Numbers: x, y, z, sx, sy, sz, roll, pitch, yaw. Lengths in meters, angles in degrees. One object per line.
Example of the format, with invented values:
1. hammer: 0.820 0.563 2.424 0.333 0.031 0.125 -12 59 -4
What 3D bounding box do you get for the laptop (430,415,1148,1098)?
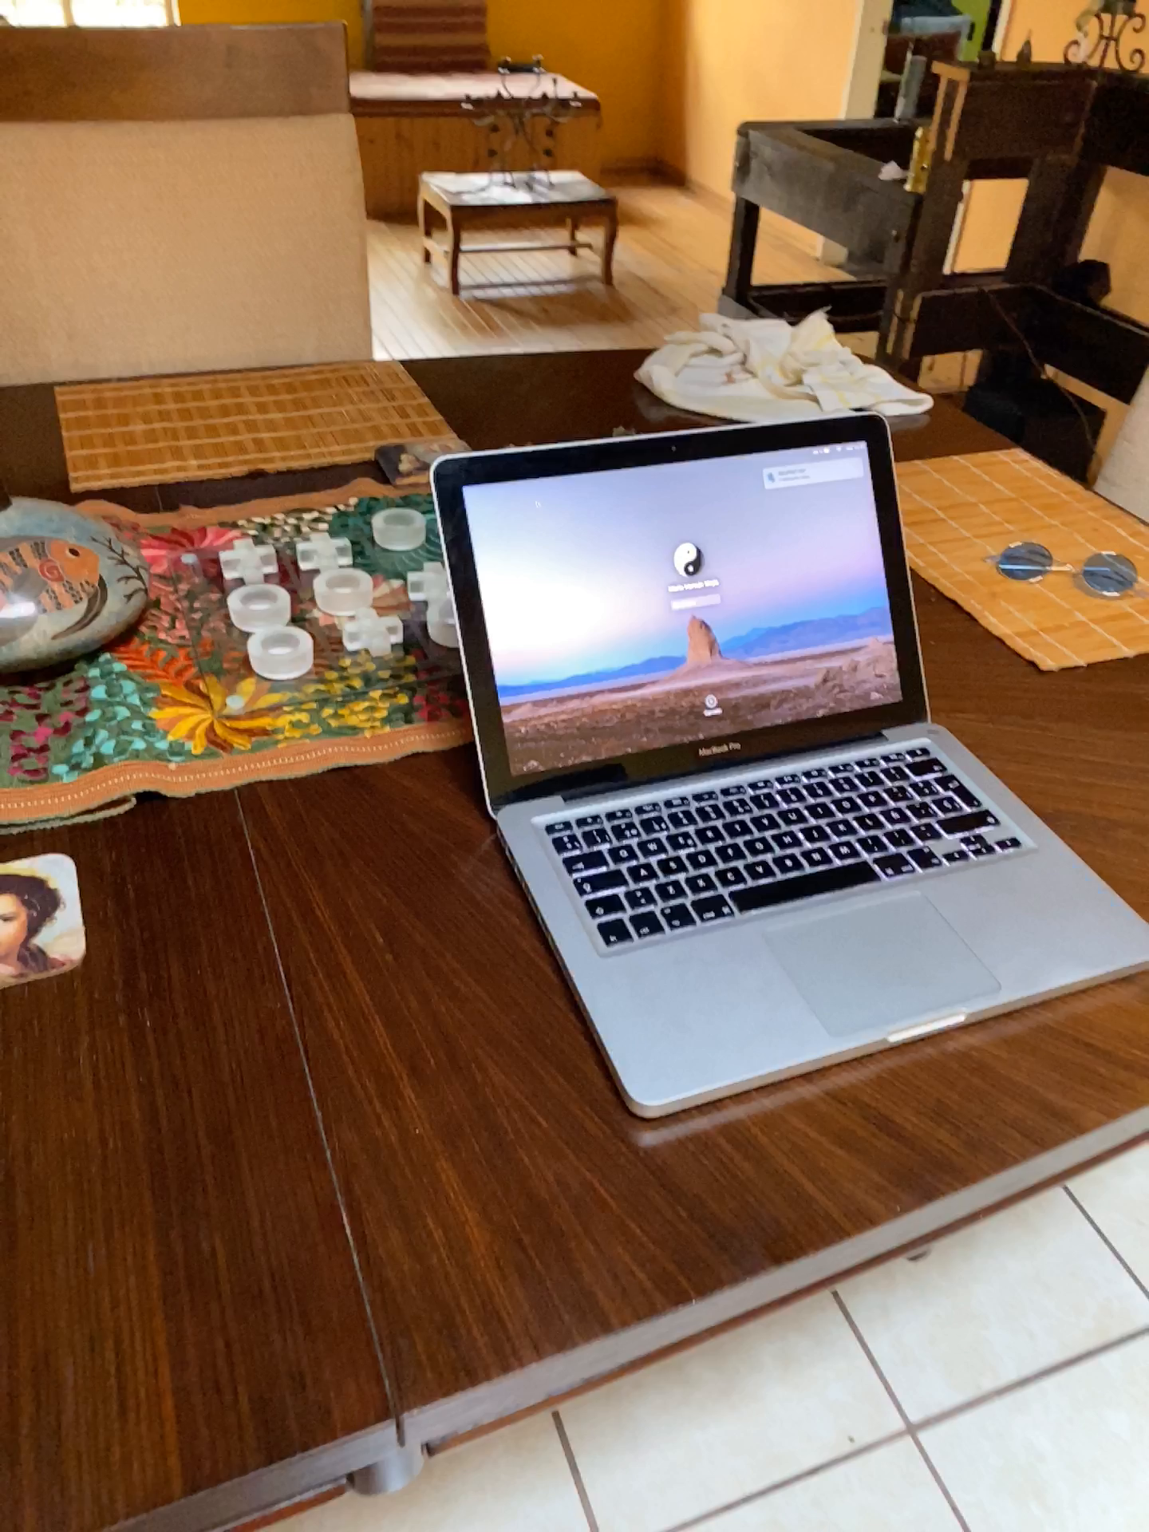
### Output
1. laptop: 0.120 -0.043 0.699 0.325 0.170 0.359 -11 40 -18
